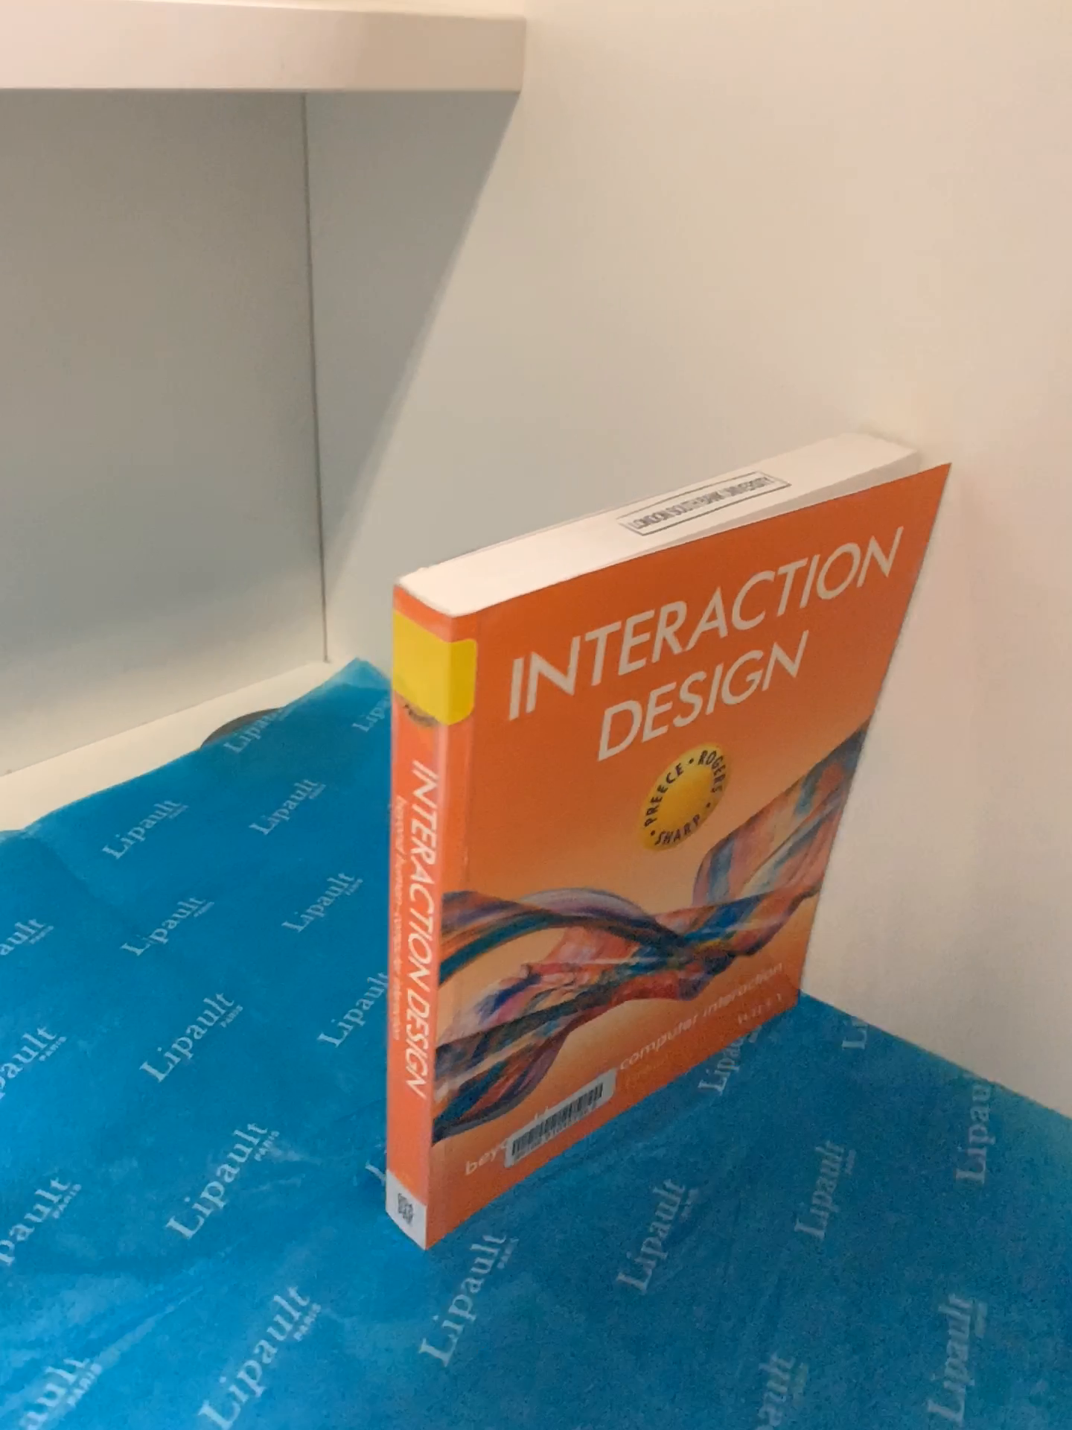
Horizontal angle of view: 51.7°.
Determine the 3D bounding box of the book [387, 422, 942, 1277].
[{"bbox_3d":[0.039,0.045,0.369,0.195,0.247,0.030,-25,44,-37],"label":"book"}]
